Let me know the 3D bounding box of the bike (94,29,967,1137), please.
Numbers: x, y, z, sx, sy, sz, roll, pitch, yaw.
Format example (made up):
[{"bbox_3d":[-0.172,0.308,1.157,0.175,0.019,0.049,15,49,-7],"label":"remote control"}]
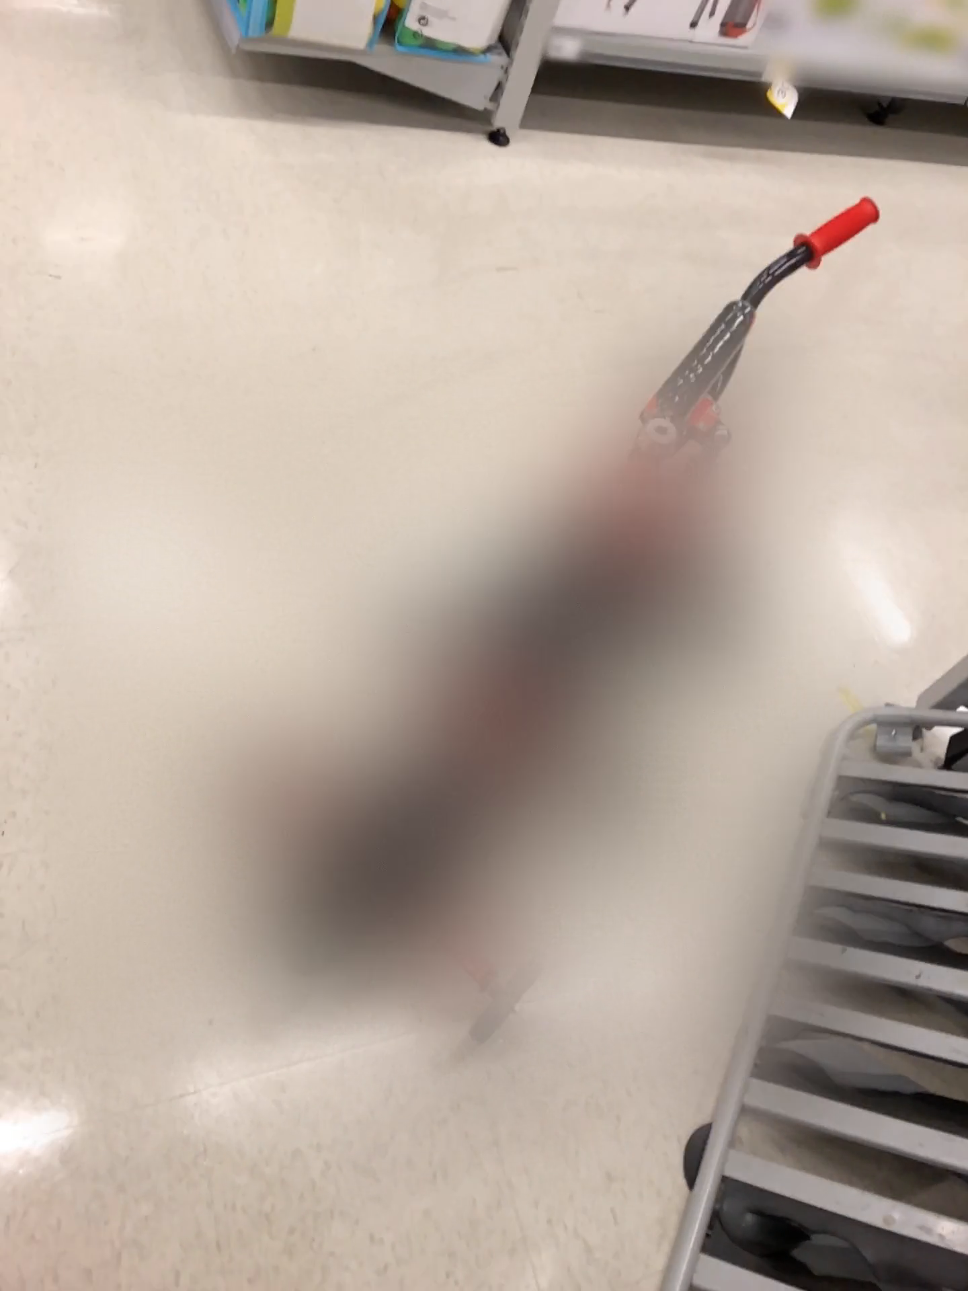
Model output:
[{"bbox_3d":[0.042,-0.049,1.092,0.531,0.679,0.701,32,52,4],"label":"bike"}]
